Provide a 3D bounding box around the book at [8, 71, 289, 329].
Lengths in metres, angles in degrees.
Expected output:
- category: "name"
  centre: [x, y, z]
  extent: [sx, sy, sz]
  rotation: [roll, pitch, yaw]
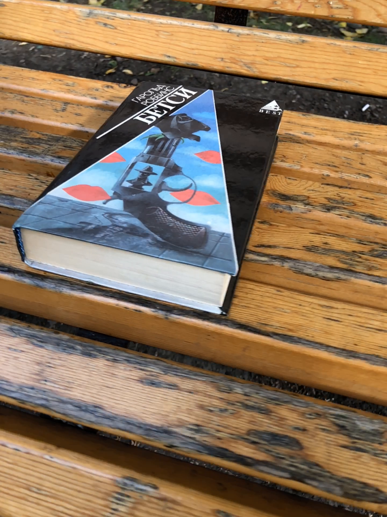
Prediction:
- category: "book"
  centre: [-0.012, -0.062, 0.312]
  extent: [0.130, 0.045, 0.211]
  rotation: [13, 47, 9]
